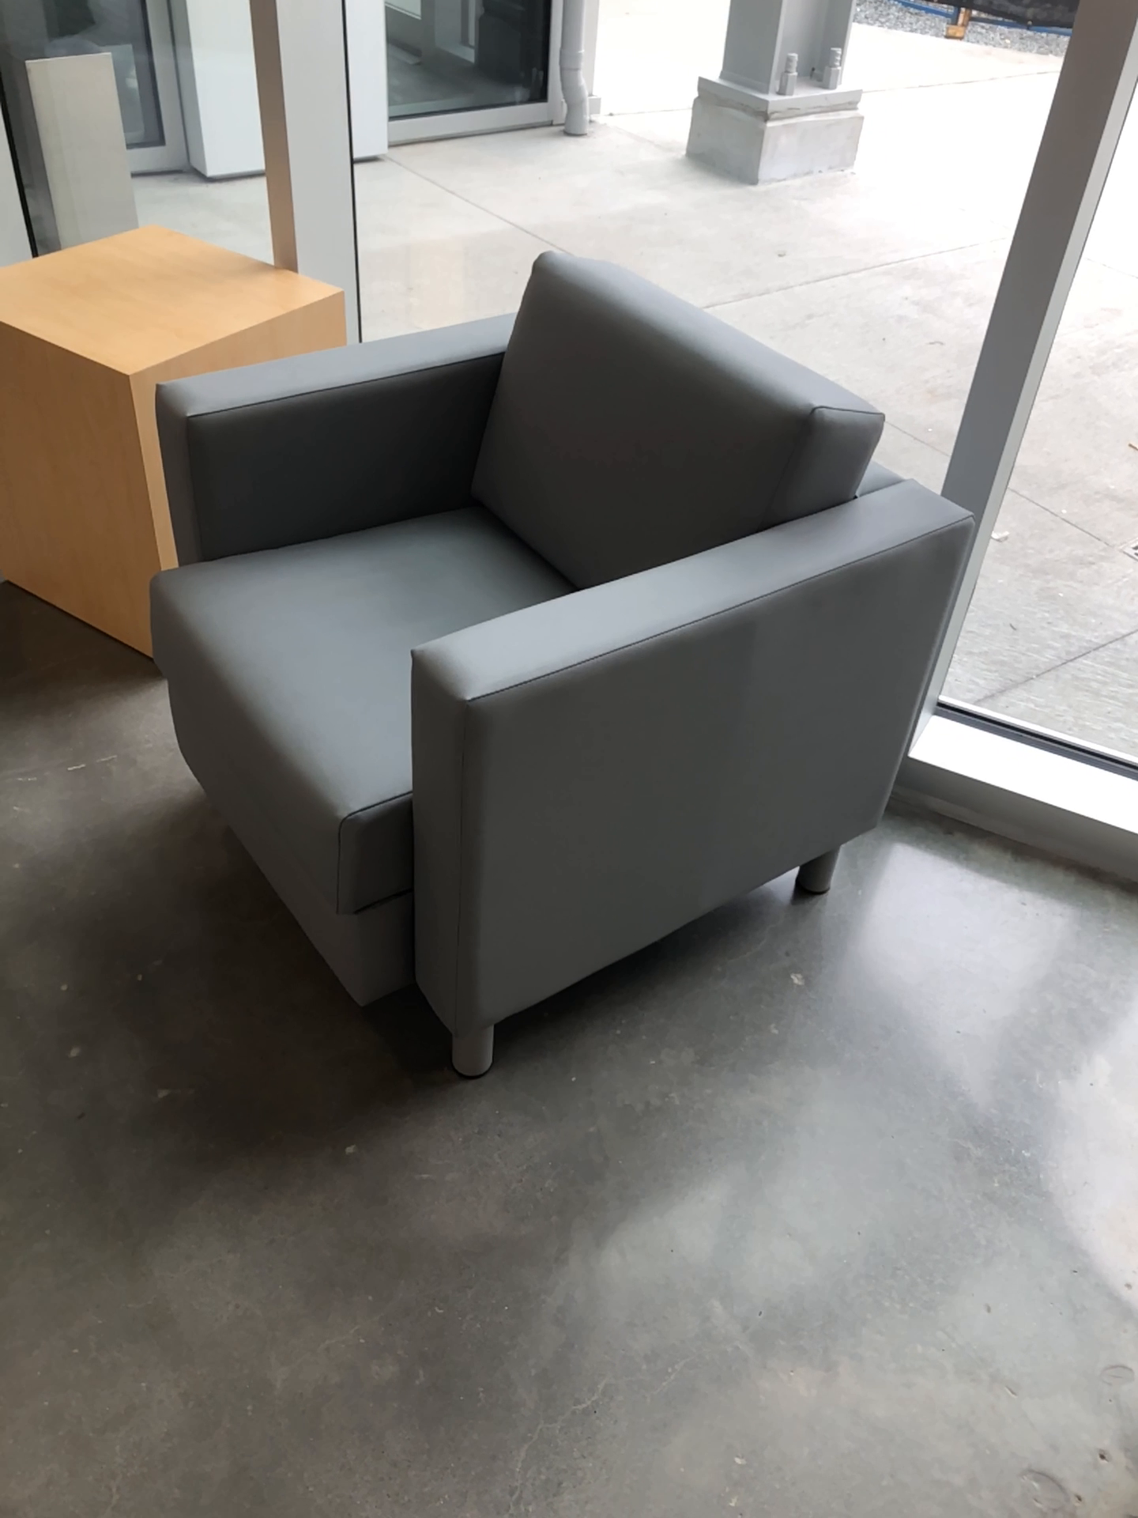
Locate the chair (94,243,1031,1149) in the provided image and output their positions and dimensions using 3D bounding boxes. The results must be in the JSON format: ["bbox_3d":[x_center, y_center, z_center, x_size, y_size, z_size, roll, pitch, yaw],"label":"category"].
[{"bbox_3d":[-0.046,-0.153,1.657,0.781,0.695,0.774,-23,48,-28],"label":"chair"}]
